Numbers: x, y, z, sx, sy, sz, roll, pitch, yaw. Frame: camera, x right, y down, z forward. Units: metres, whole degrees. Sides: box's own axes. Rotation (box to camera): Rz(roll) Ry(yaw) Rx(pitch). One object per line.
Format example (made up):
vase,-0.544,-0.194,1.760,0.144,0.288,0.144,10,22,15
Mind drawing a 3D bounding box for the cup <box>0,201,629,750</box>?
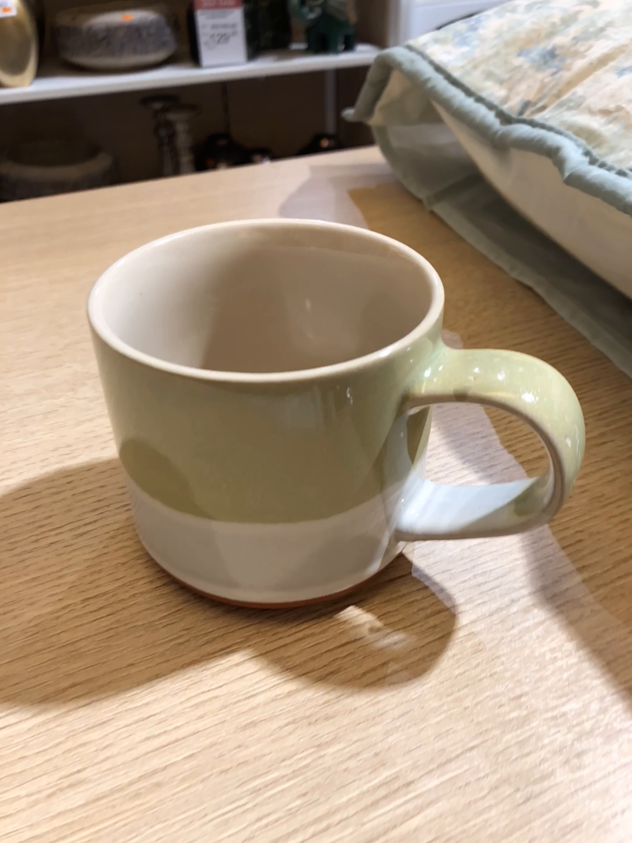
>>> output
cup,0.002,0.002,0.199,0.140,0.079,0.101,12,39,18
